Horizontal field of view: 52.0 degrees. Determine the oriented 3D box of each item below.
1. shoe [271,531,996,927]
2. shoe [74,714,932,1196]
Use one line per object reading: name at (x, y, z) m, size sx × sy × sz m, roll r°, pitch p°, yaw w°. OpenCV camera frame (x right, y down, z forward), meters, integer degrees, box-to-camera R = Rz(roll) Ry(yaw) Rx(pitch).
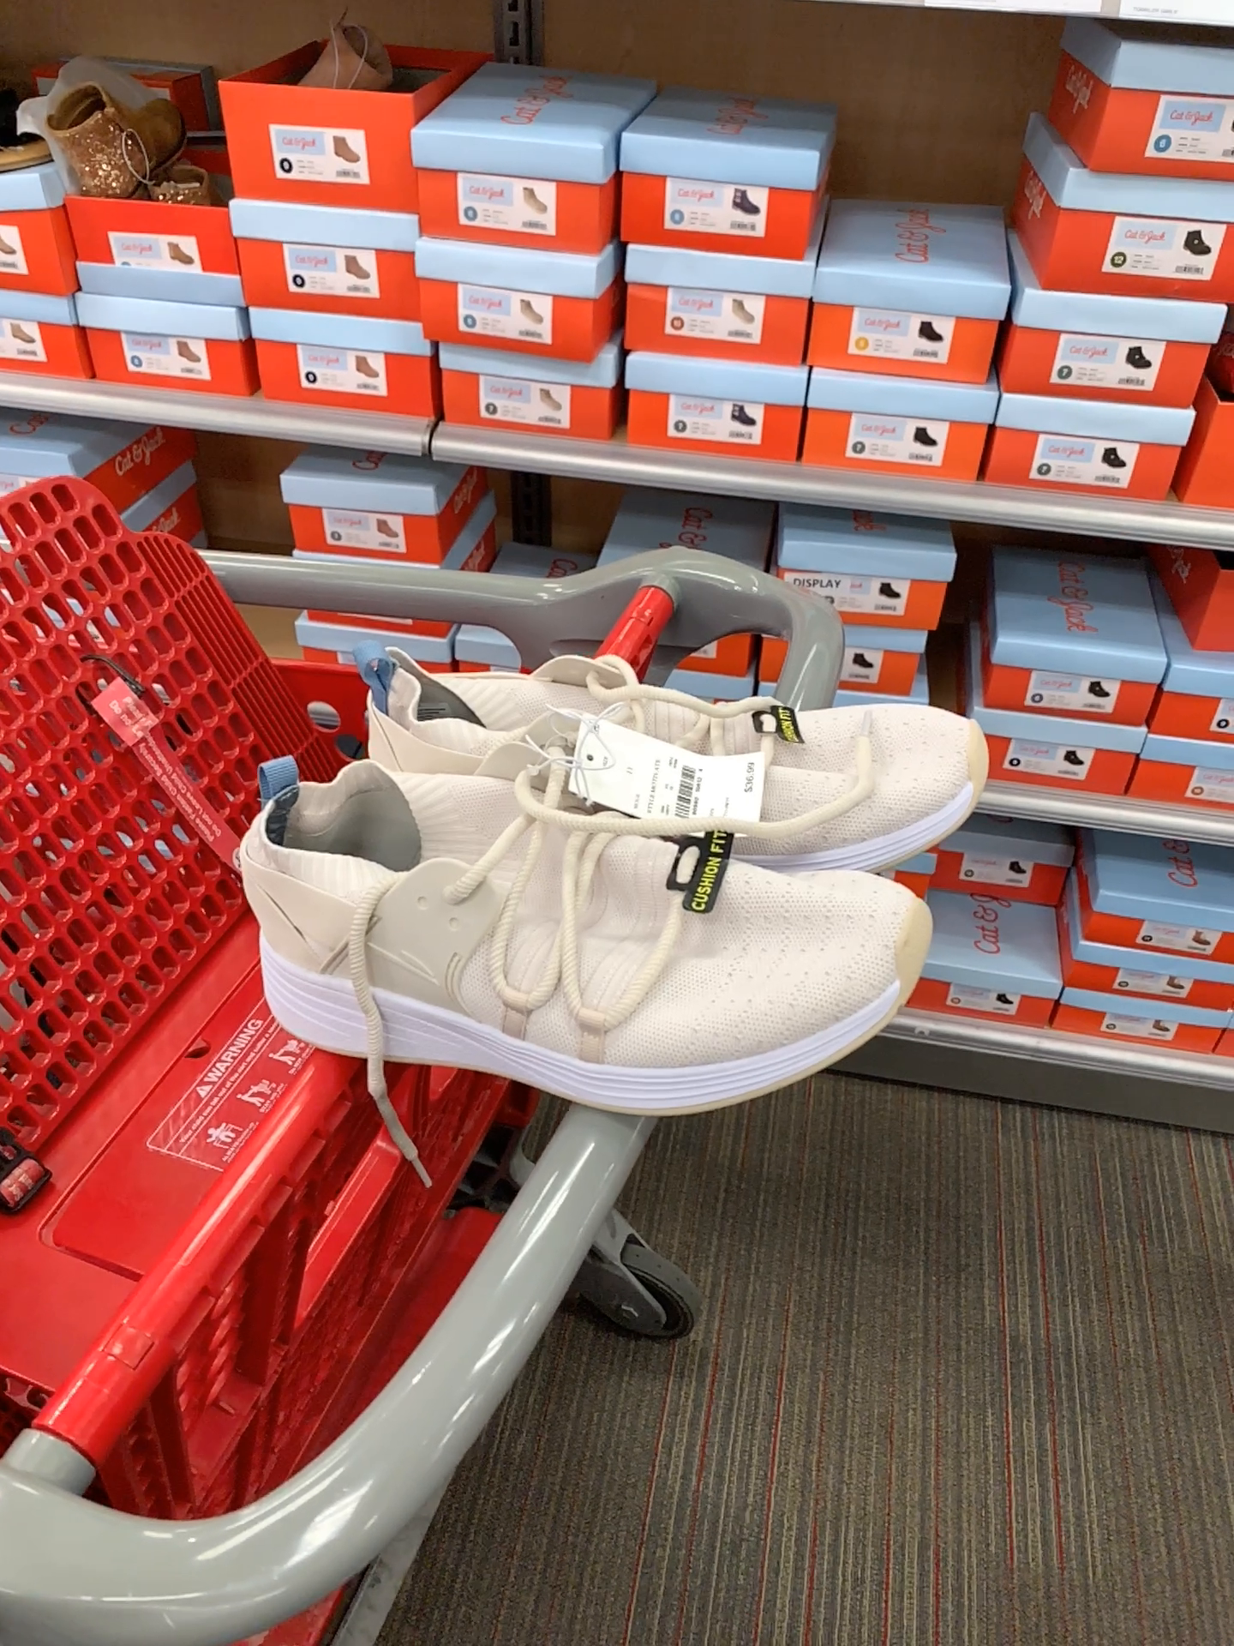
shoe at (0.015, -0.036, 0.550) m, size 0.280 × 0.109 × 0.111 m, roll -3°, pitch 40°, yaw 16°
shoe at (-0.040, 0.037, 0.472) m, size 0.280 × 0.109 × 0.110 m, roll 2°, pitch 38°, yaw 26°
